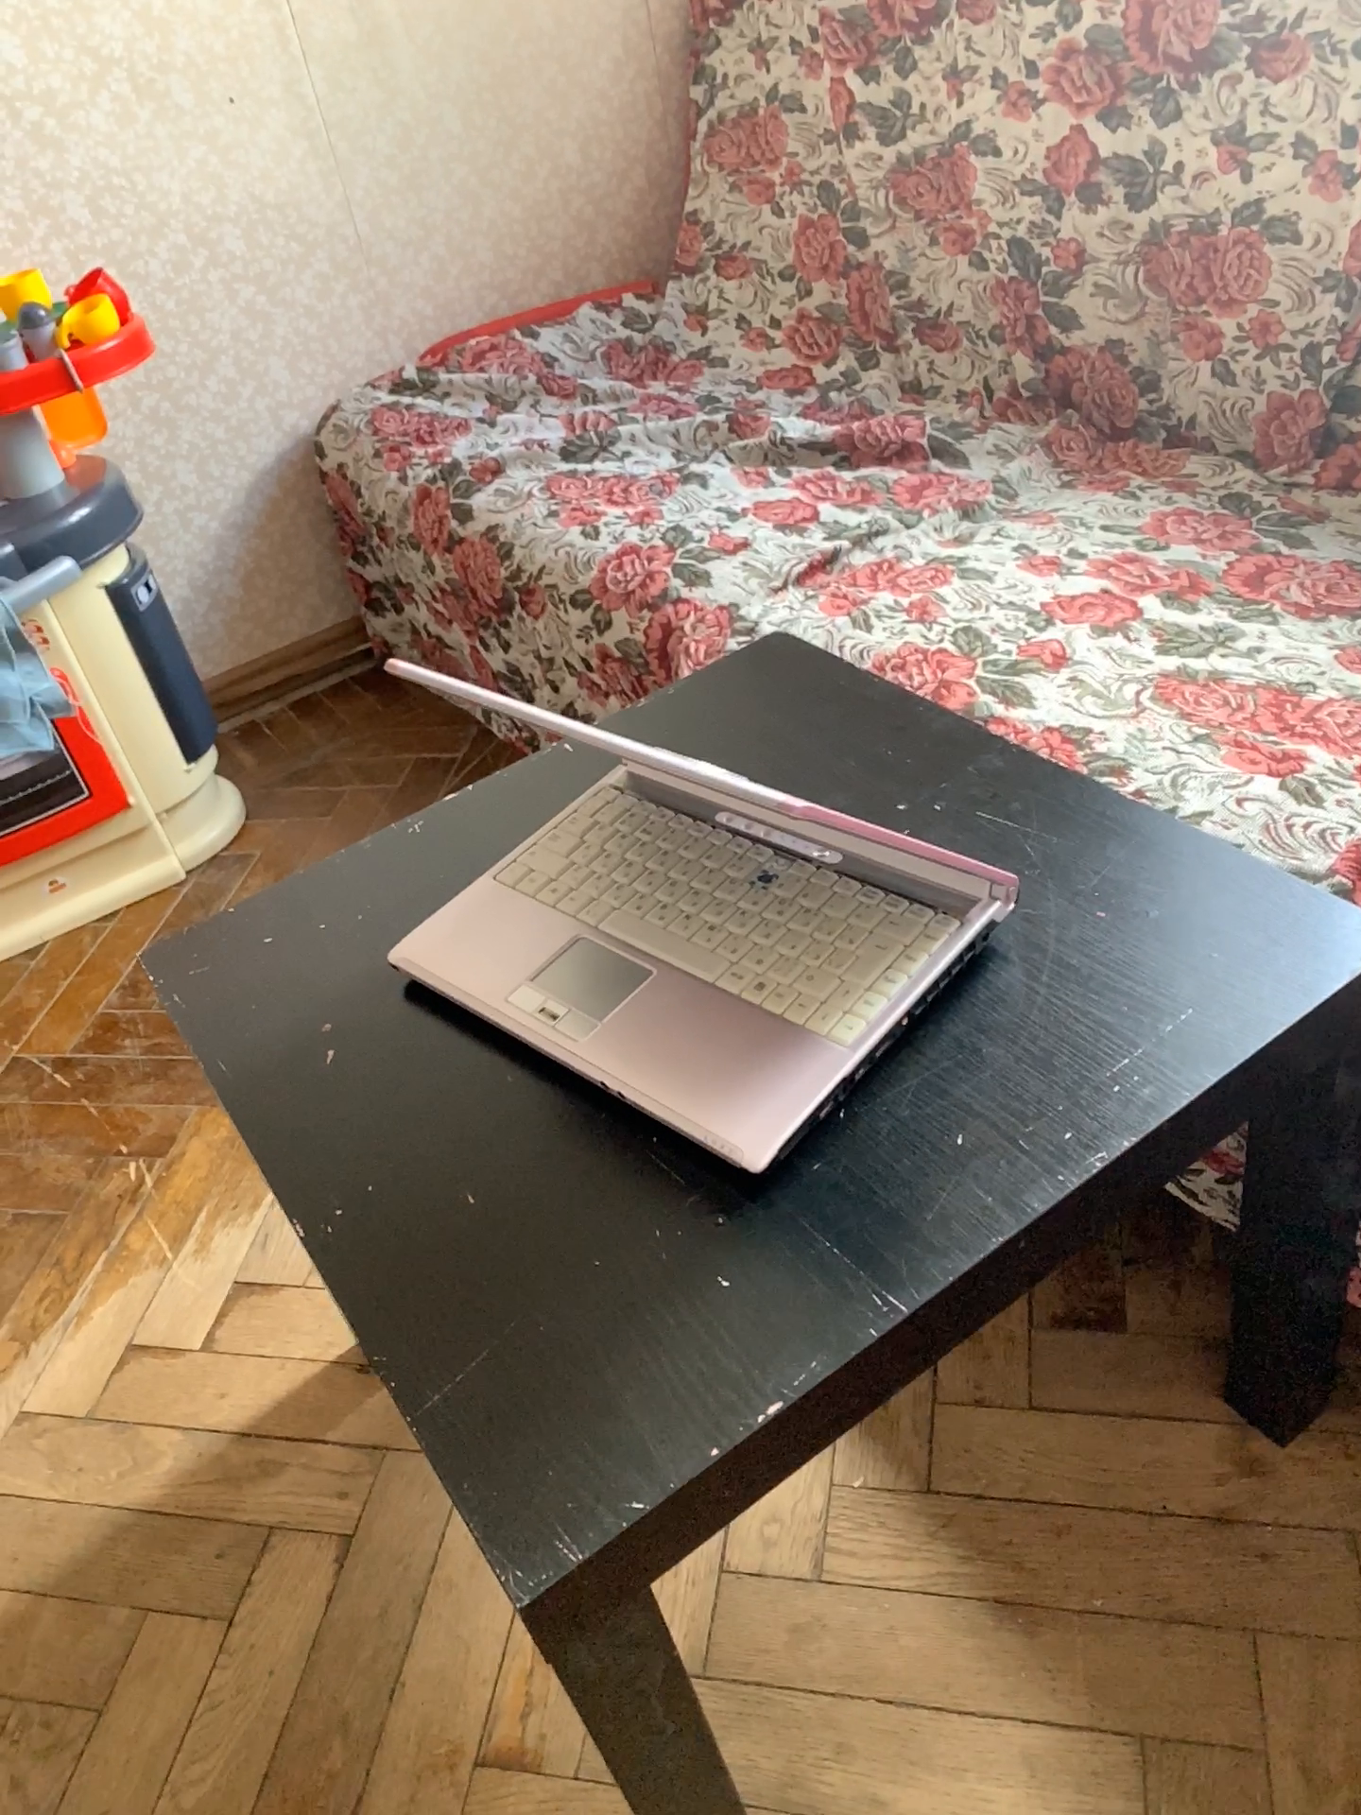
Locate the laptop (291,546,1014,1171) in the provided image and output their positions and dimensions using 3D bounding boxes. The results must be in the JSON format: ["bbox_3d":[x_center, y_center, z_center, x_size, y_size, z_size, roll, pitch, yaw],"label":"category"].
[{"bbox_3d":[-0.013,-0.050,0.758,0.306,0.156,0.226,23,52,38],"label":"laptop"}]
